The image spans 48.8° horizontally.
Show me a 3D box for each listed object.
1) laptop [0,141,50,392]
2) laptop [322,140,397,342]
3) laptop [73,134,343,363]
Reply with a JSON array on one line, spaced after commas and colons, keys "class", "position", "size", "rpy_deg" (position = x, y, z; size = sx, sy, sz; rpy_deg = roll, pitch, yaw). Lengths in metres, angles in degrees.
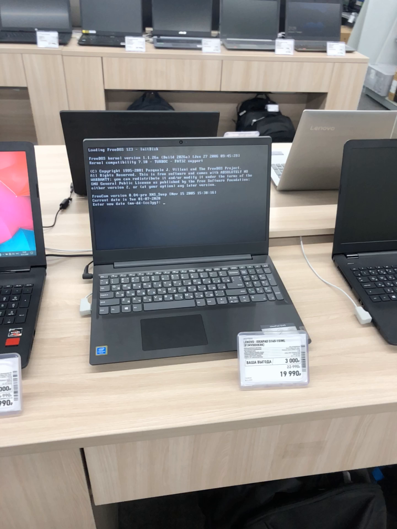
[{"class": "laptop", "position": [-0.446, -0.024, 0.660], "size": [0.351, 0.202, 0.322], "rpy_deg": [-3, 38, -8]}, {"class": "laptop", "position": [0.463, -0.058, 0.769], "size": [0.337, 0.208, 0.298], "rpy_deg": [-3, 38, -9]}, {"class": "laptop", "position": [-0.011, -0.049, 0.730], "size": [0.340, 0.210, 0.323], "rpy_deg": [-4, 38, -8]}]
